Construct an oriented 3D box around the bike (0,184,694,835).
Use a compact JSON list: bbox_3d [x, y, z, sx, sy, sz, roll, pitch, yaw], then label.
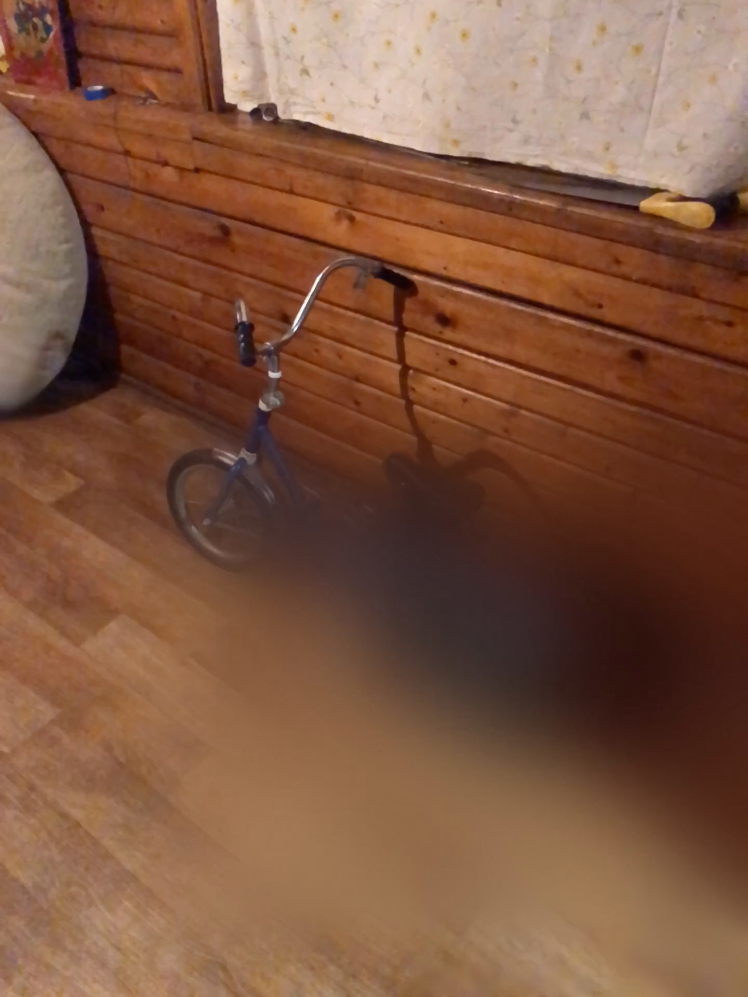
[{"bbox_3d":[-0.055,-0.045,1.556,0.958,0.697,0.595,28,48,29],"label":"bike"}]
